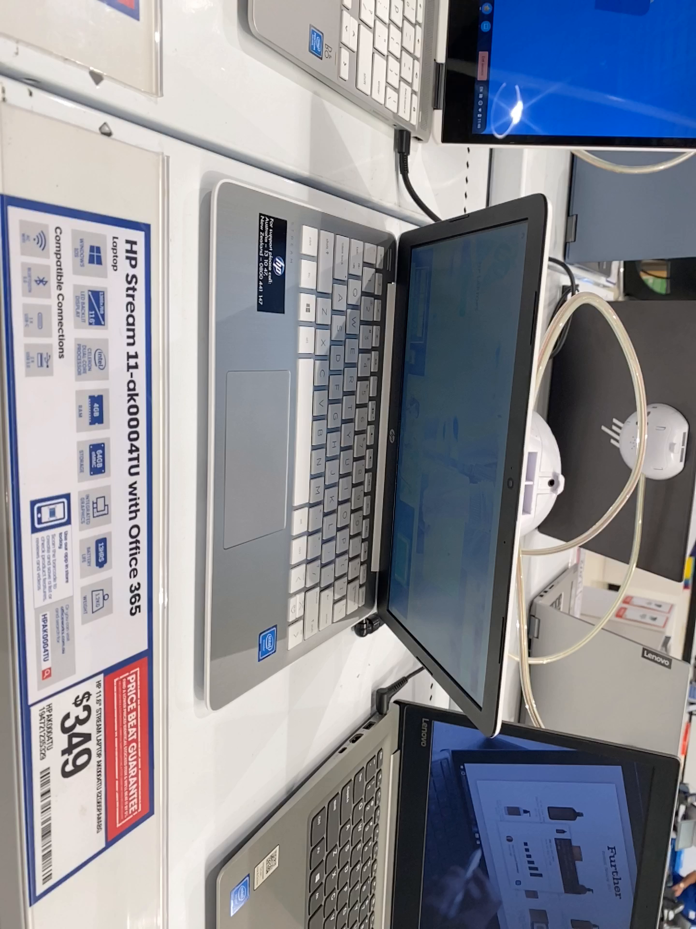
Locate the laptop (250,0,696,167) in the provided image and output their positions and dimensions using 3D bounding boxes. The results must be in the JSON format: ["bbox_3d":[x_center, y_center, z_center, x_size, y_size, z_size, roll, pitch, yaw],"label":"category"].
[{"bbox_3d":[0.112,-0.346,0.407,0.299,0.189,0.257,-15,110,-59],"label":"laptop"}]

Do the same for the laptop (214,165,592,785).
[{"bbox_3d":[0.038,-0.007,0.424,0.182,0.138,0.276,-13,108,-58],"label":"laptop"}]

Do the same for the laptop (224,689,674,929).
[{"bbox_3d":[0.087,0.396,0.521,0.277,0.211,0.326,-17,111,-58],"label":"laptop"}]
